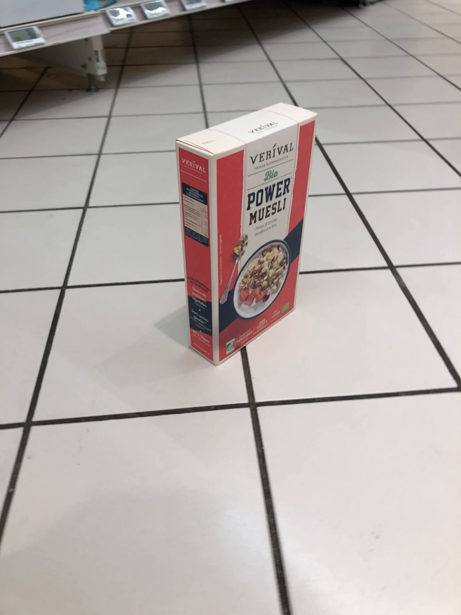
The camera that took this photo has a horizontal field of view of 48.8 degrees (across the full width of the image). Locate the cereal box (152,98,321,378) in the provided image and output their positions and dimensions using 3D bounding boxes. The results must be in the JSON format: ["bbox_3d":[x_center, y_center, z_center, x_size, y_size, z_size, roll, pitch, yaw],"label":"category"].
[{"bbox_3d":[0.010,-0.060,0.471,0.050,0.219,0.141,31,48,34],"label":"cereal box"}]
